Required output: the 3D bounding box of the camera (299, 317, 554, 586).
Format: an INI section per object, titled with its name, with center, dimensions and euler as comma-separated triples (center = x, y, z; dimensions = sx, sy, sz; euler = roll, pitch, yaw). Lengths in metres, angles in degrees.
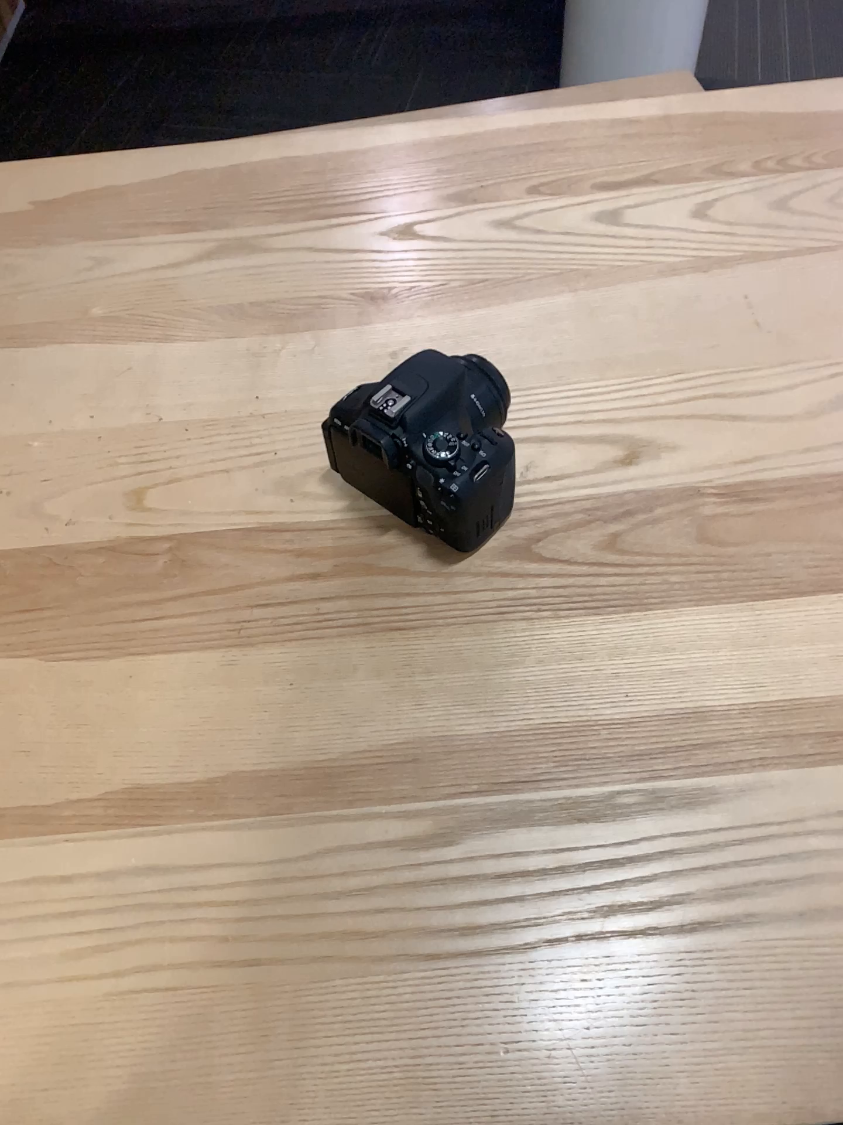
[camera]
center = 0.006, -0.078, 0.590
dimensions = 0.120, 0.094, 0.112
euler = 34, 63, 24
